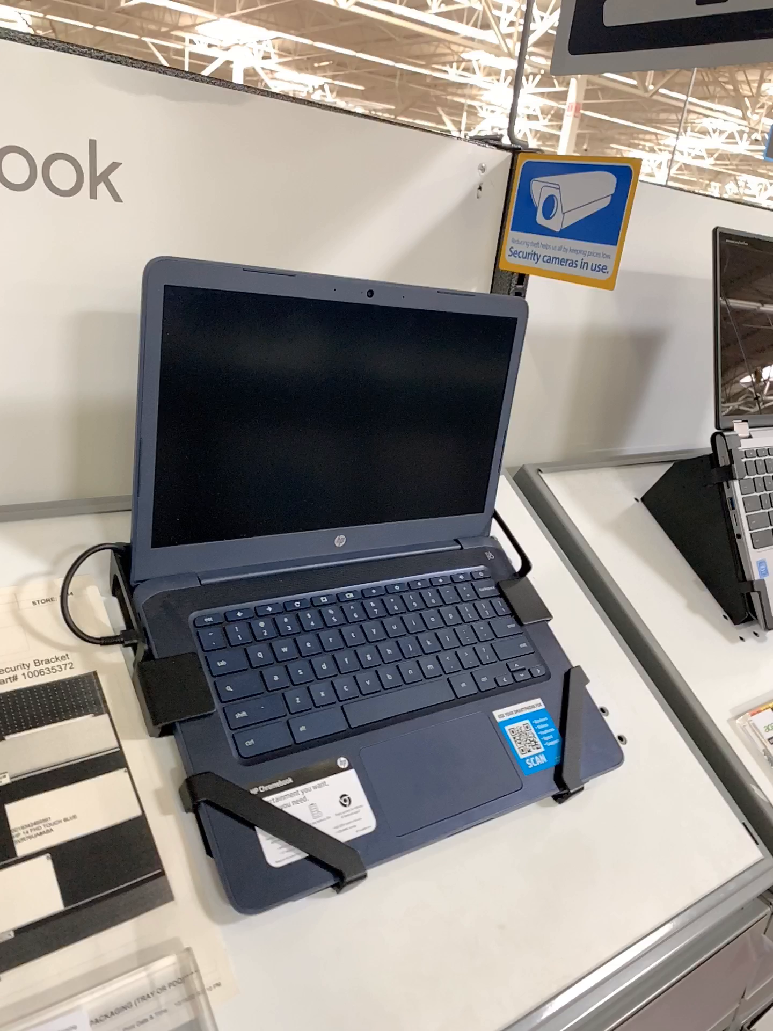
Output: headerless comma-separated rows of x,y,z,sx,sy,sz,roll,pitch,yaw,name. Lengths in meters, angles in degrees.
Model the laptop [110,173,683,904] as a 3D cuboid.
-0.001,-0.023,0.573,0.317,0.189,0.323,-6,46,-35,laptop
